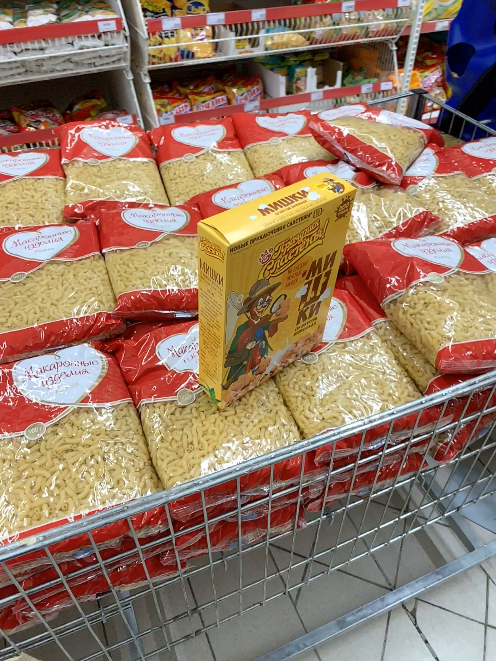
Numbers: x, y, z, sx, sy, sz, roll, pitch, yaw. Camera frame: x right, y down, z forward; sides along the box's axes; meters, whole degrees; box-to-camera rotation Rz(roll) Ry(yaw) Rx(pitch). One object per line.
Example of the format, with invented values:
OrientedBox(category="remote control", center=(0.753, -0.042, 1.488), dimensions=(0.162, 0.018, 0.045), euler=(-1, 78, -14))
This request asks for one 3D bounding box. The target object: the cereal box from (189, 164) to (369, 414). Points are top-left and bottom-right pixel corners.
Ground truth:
OrientedBox(category="cereal box", center=(0.025, -0.037, 0.524), dimensions=(0.171, 0.218, 0.050), euler=(-29, 55, -29))
